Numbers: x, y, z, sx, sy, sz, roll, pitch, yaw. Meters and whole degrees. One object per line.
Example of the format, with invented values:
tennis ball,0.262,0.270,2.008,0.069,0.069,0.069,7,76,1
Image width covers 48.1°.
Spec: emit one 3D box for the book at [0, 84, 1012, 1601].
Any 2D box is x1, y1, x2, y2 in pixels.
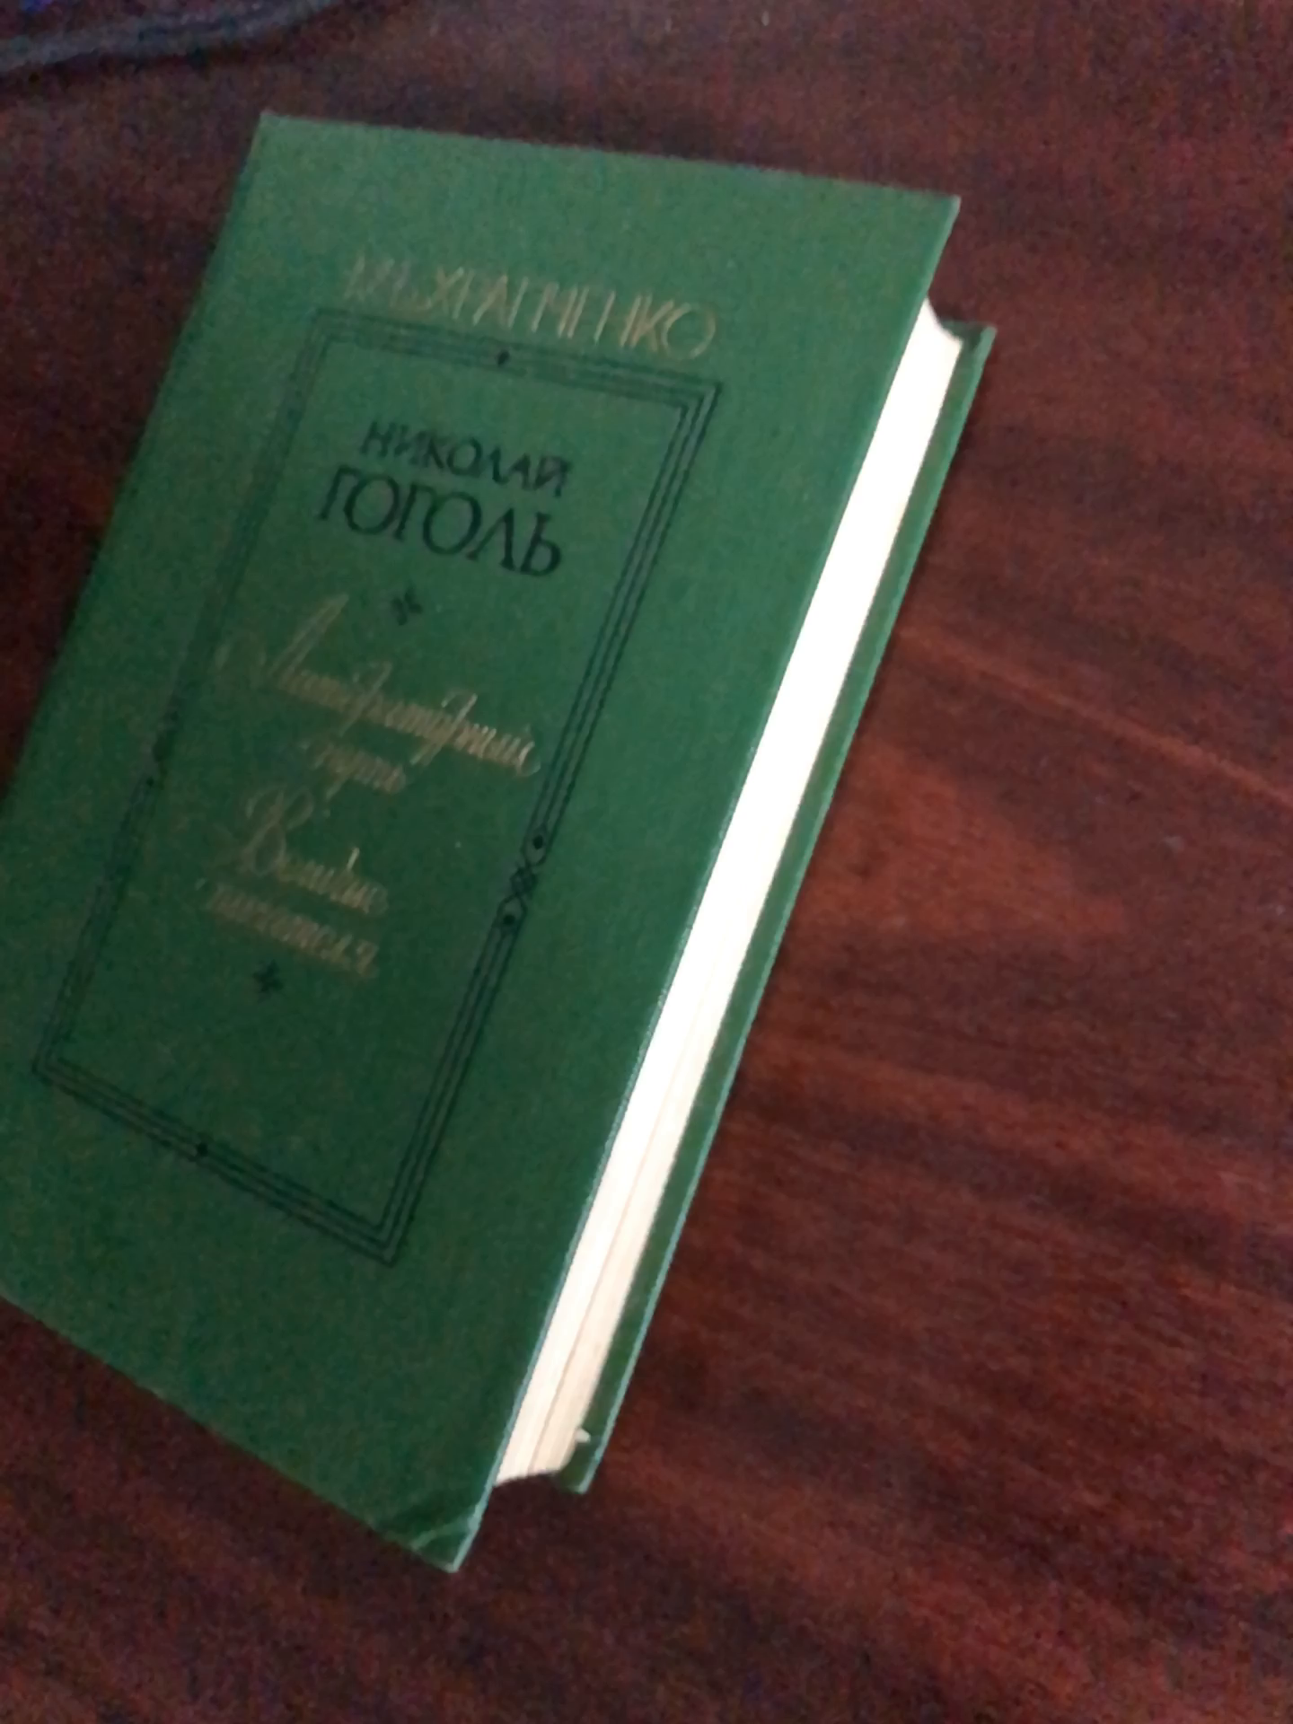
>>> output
book,-0.039,-0.015,0.242,0.130,0.050,0.206,19,87,24
